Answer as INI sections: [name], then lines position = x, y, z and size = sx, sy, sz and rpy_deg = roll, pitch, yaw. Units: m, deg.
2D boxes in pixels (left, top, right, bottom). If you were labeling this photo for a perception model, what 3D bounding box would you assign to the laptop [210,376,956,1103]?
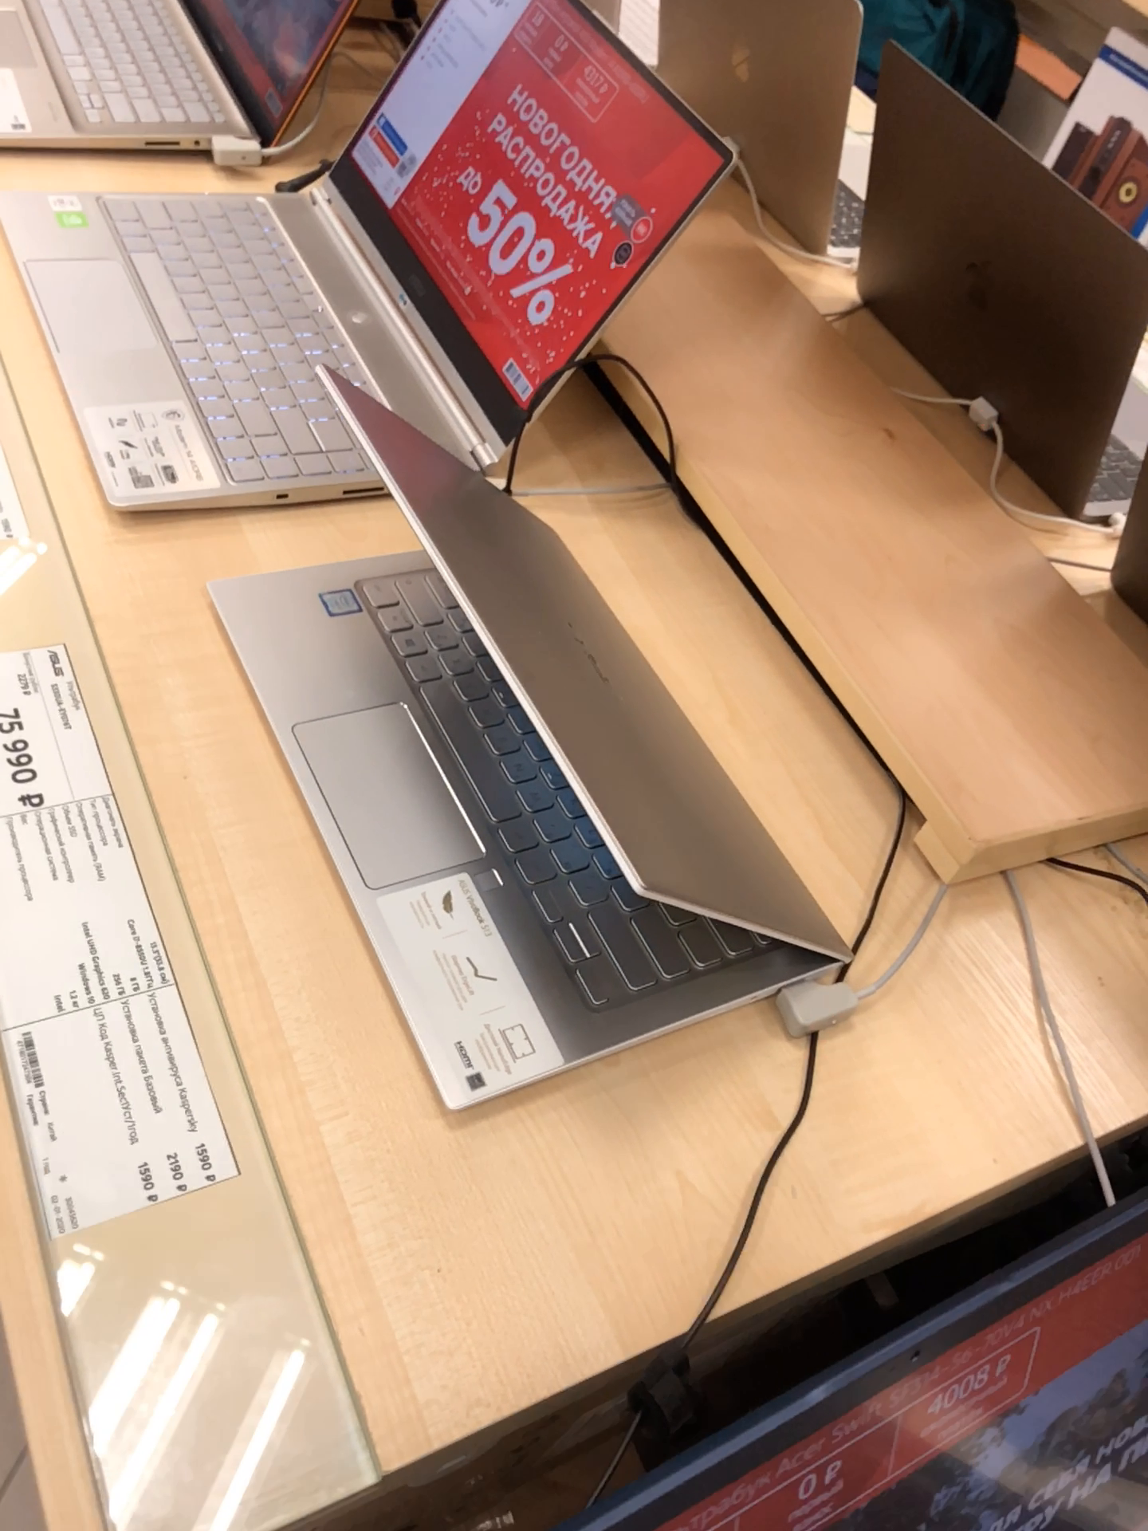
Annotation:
[laptop]
position = -0.019, -0.038, 0.577
size = 0.197, 0.119, 0.310
rpy_deg = -12, 52, -28
